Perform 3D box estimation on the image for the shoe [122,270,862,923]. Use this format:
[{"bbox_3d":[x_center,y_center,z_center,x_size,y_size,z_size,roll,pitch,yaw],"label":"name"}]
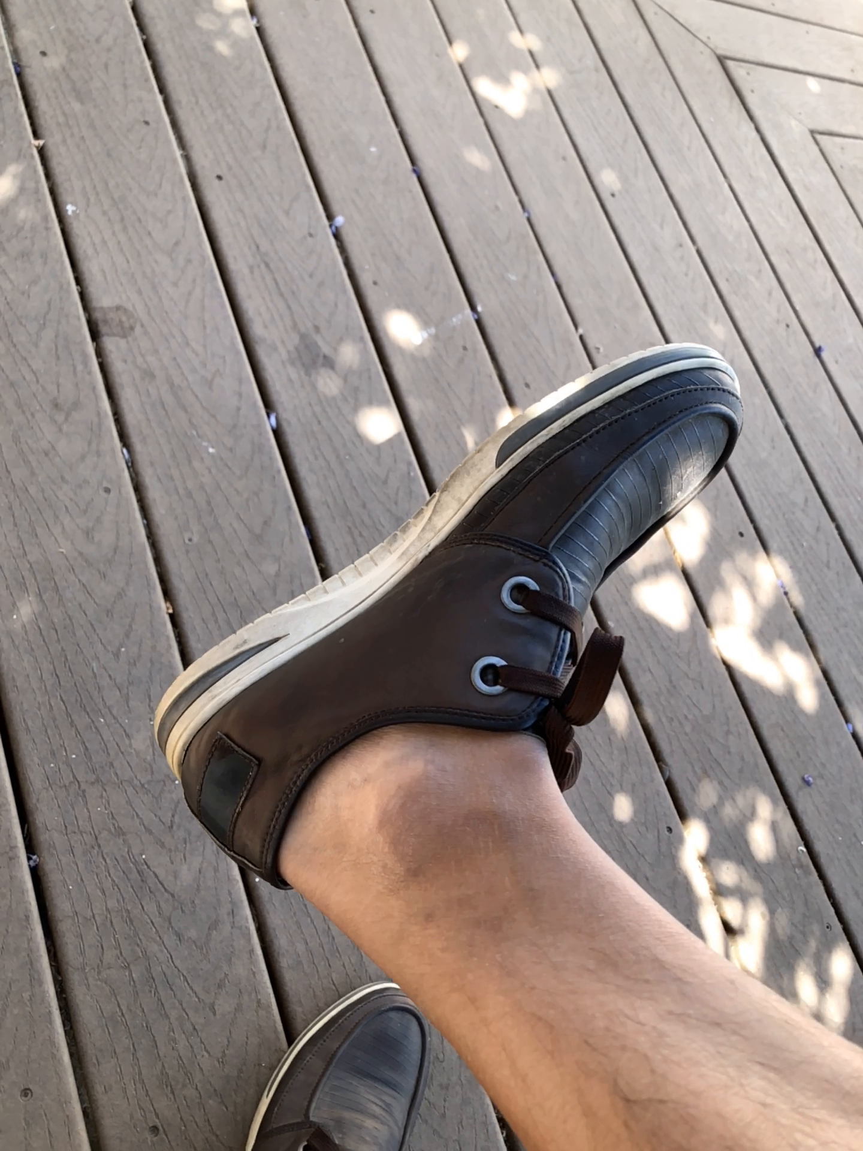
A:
[{"bbox_3d":[0.029,0.017,0.388,0.275,0.103,0.092,-36,58,3],"label":"shoe"}]
